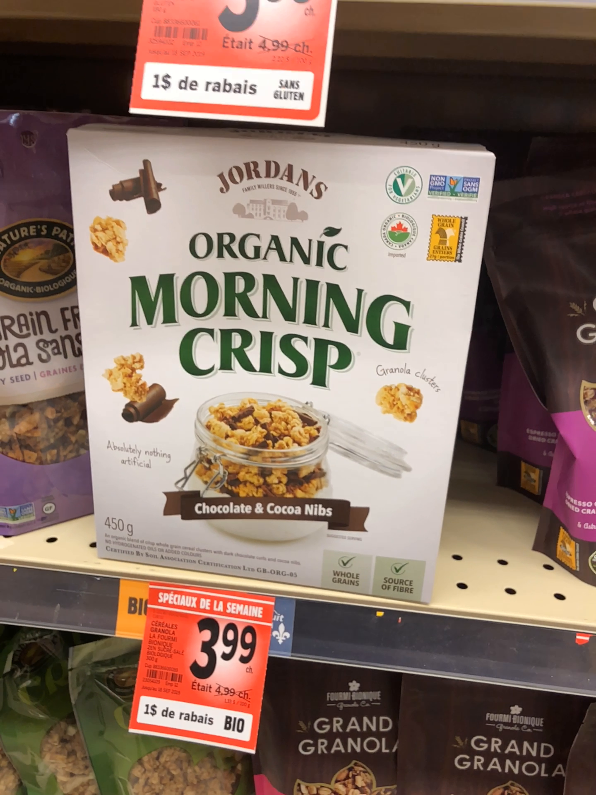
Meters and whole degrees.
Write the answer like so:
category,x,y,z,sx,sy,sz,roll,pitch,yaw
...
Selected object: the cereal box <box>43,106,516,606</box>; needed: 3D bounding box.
category,x,y,z,sx,sy,sz,roll,pitch,yaw
cereal box,-0.012,-0.017,0.309,0.180,0.209,0.050,6,22,7
